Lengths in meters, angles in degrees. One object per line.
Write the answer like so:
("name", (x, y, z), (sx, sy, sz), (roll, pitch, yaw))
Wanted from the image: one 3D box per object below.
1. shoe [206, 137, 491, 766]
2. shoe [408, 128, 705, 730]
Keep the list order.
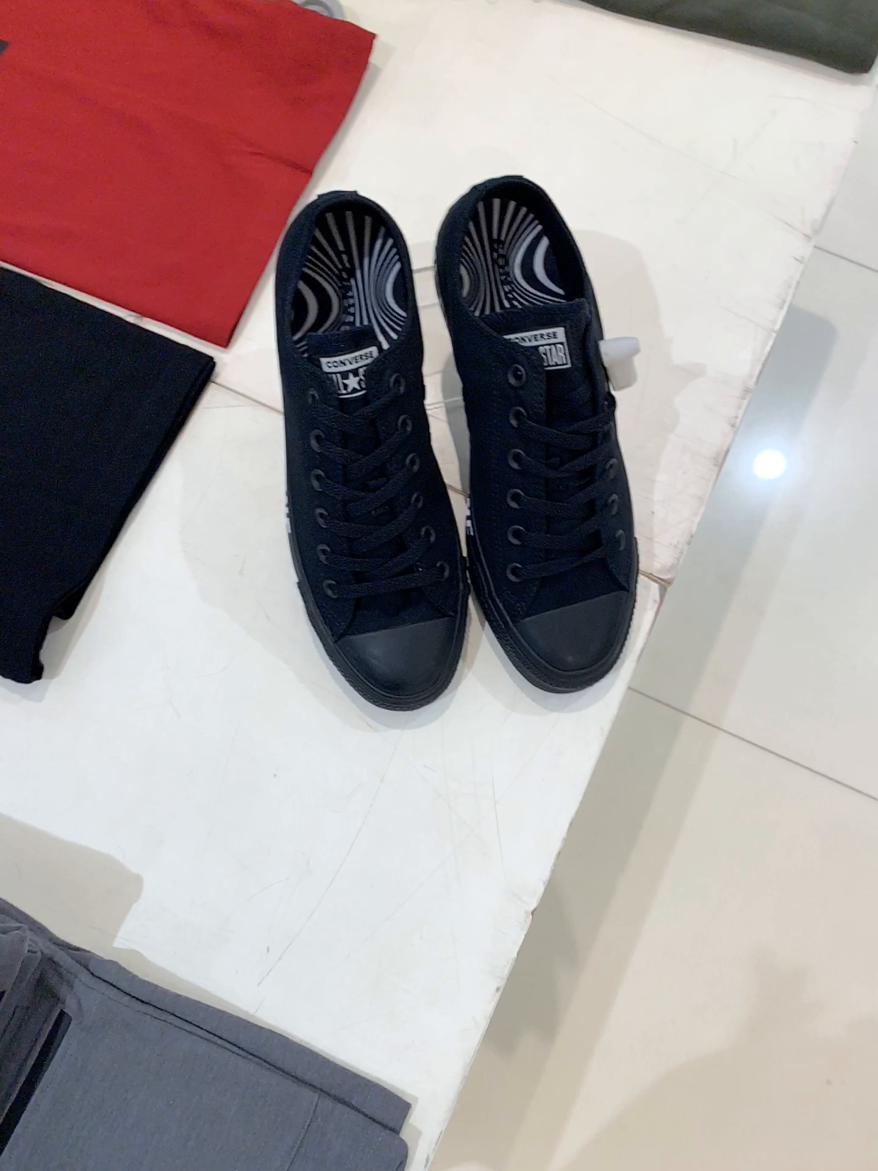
("shoe", (-0.049, -0.066, 0.483), (0.090, 0.100, 0.290), (-11, 99, -10))
("shoe", (0.059, -0.076, 0.476), (0.100, 0.100, 0.270), (-10, 100, -6))
